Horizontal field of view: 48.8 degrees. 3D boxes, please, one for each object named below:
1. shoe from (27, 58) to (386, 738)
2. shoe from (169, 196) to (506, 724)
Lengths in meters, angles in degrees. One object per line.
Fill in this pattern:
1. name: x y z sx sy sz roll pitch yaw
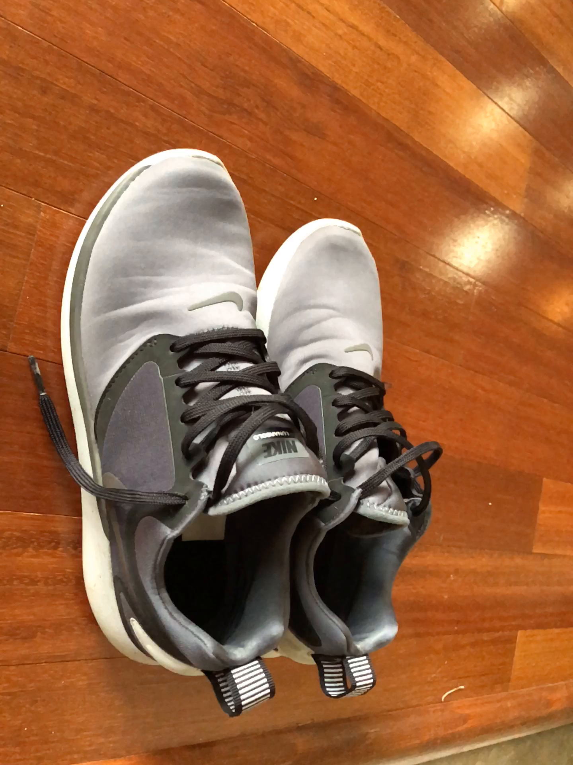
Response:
1. shoe: -0.039 0.006 0.296 0.110 0.100 0.240 5 91 -39
2. shoe: 0.030 0.038 0.358 0.110 0.100 0.240 14 85 -39
